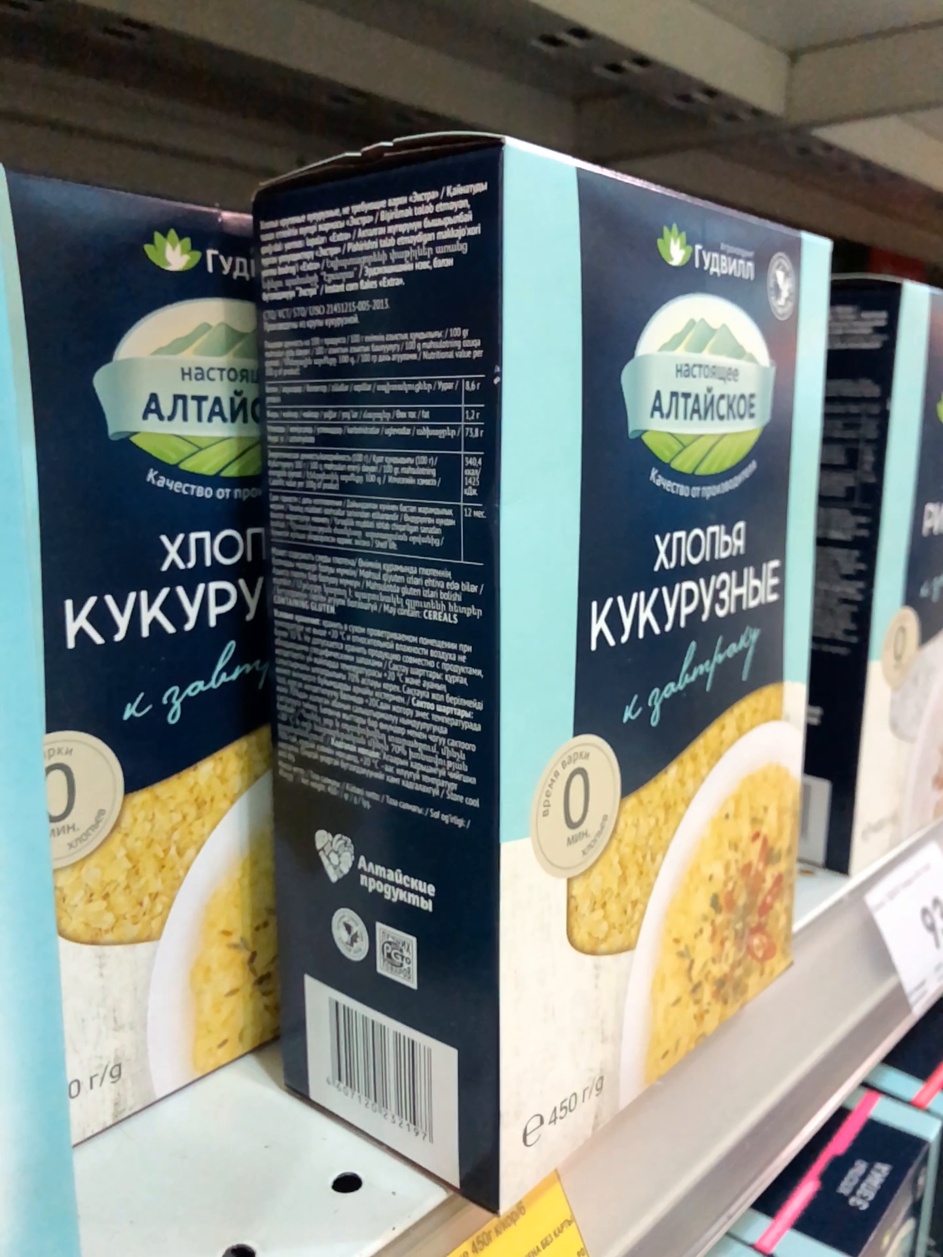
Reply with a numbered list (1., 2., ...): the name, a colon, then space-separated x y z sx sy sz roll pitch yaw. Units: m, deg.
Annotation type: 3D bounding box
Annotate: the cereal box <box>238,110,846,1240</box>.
1. cereal box: 0.026 0.002 0.245 0.060 0.189 0.140 8 13 40
